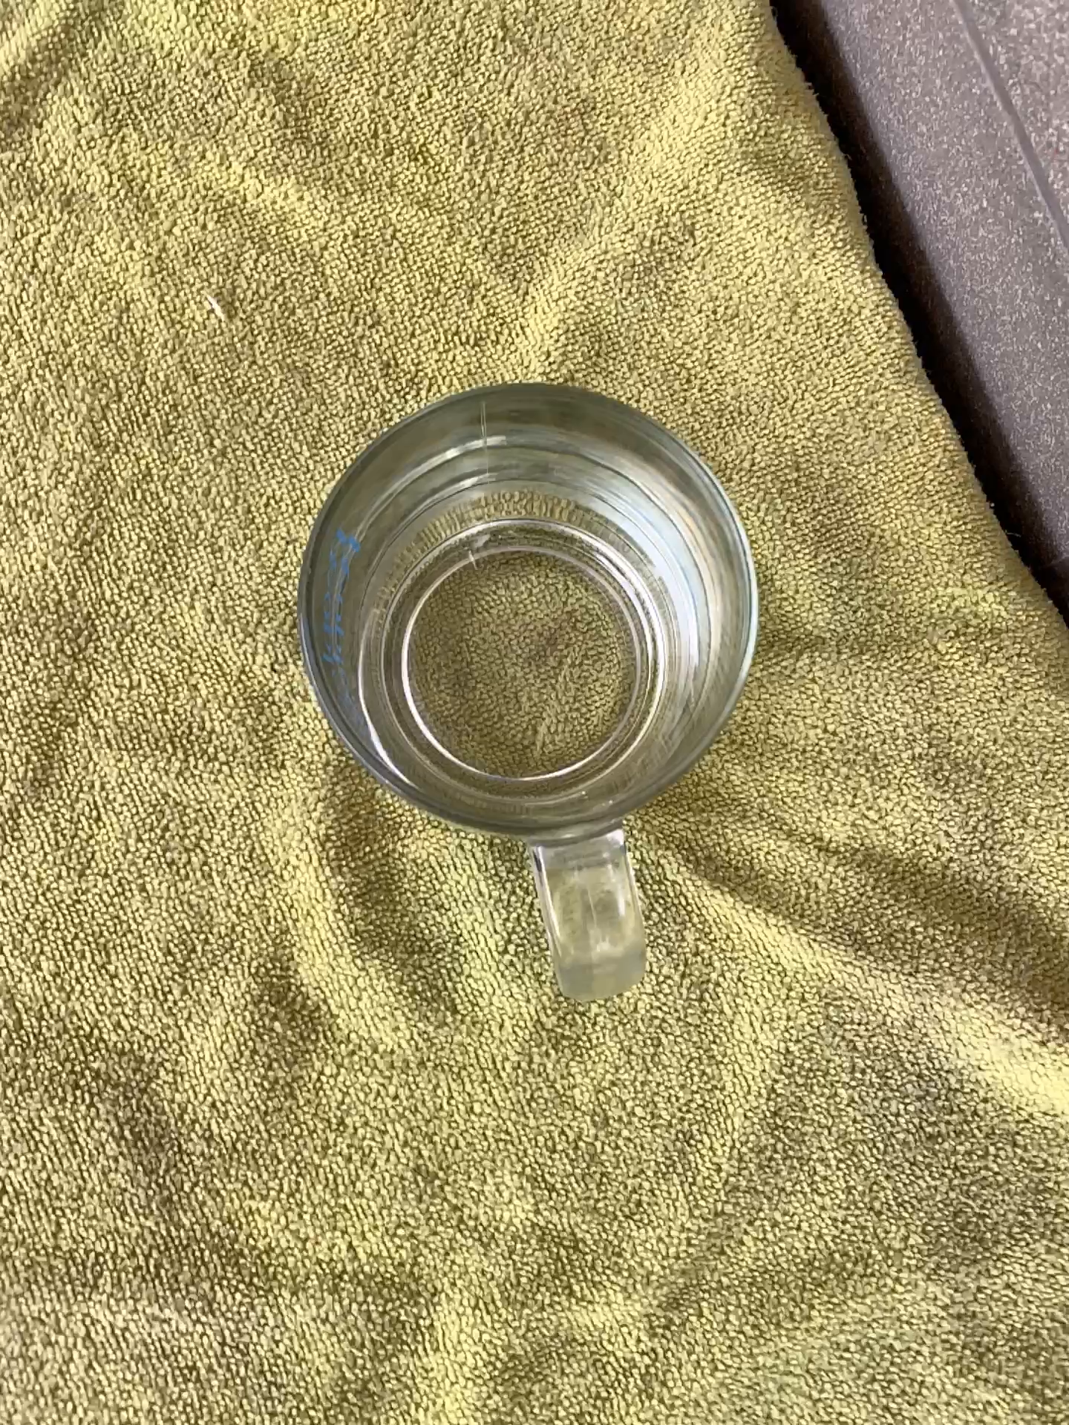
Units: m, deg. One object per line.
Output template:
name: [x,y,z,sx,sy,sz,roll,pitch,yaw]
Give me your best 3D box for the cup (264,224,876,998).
cup: [0.003,-0.015,0.237,0.080,0.100,0.120,-12,84,-4]
